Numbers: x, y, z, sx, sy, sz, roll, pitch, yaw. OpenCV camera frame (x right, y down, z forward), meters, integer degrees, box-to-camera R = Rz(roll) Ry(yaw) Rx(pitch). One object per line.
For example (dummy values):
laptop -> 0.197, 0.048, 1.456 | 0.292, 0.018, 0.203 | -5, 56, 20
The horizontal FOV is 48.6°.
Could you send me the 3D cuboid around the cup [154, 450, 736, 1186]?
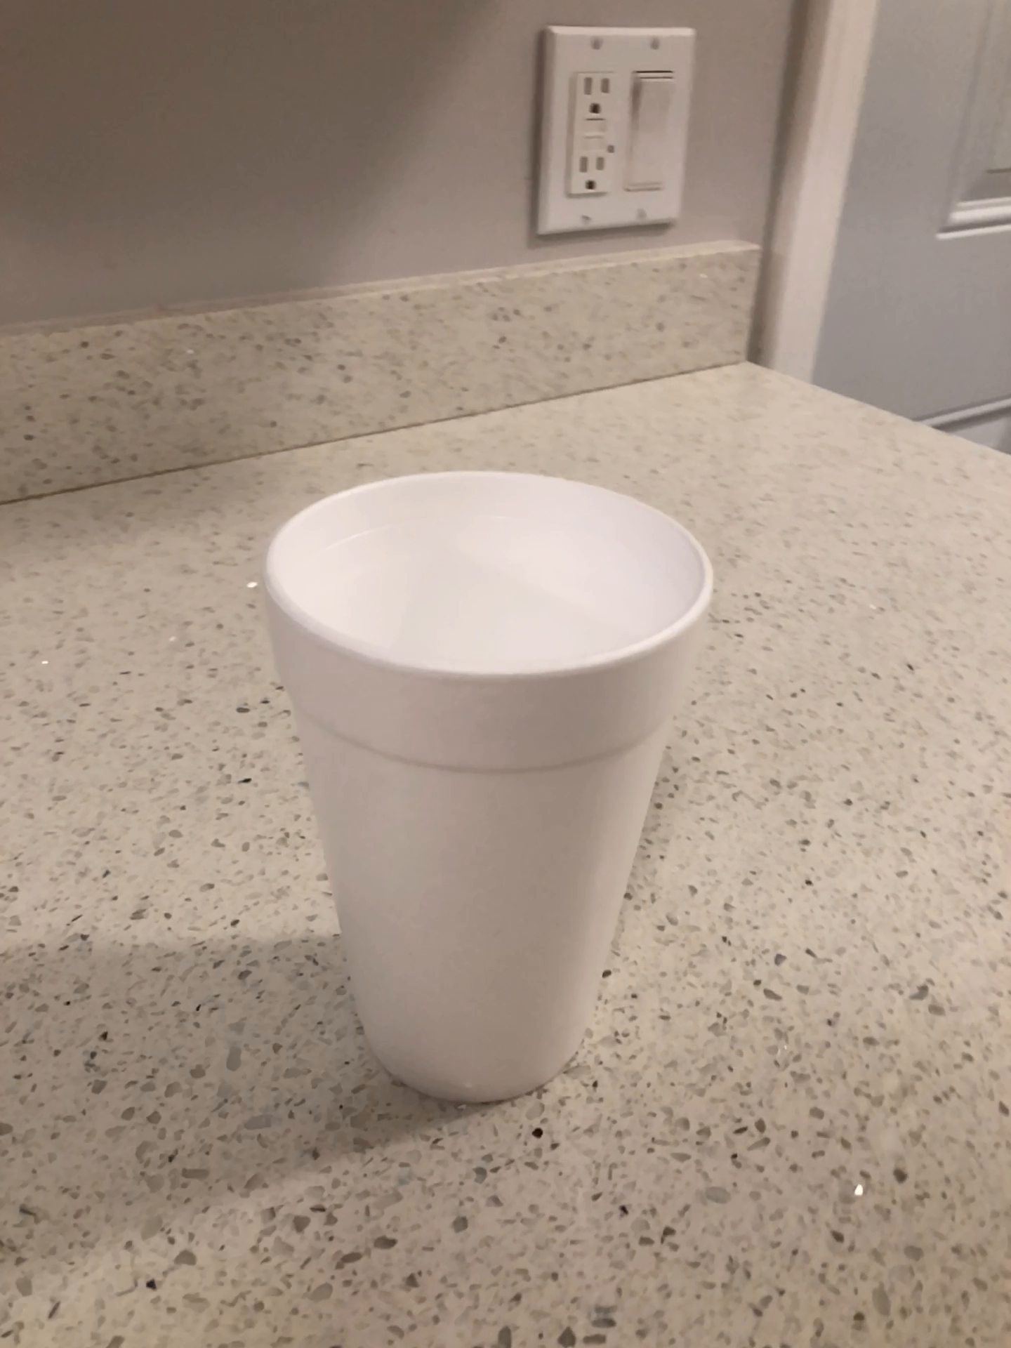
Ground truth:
cup -> -0.007, 0.027, 0.250 | 0.090, 0.118, 0.088 | 1, 32, -1
